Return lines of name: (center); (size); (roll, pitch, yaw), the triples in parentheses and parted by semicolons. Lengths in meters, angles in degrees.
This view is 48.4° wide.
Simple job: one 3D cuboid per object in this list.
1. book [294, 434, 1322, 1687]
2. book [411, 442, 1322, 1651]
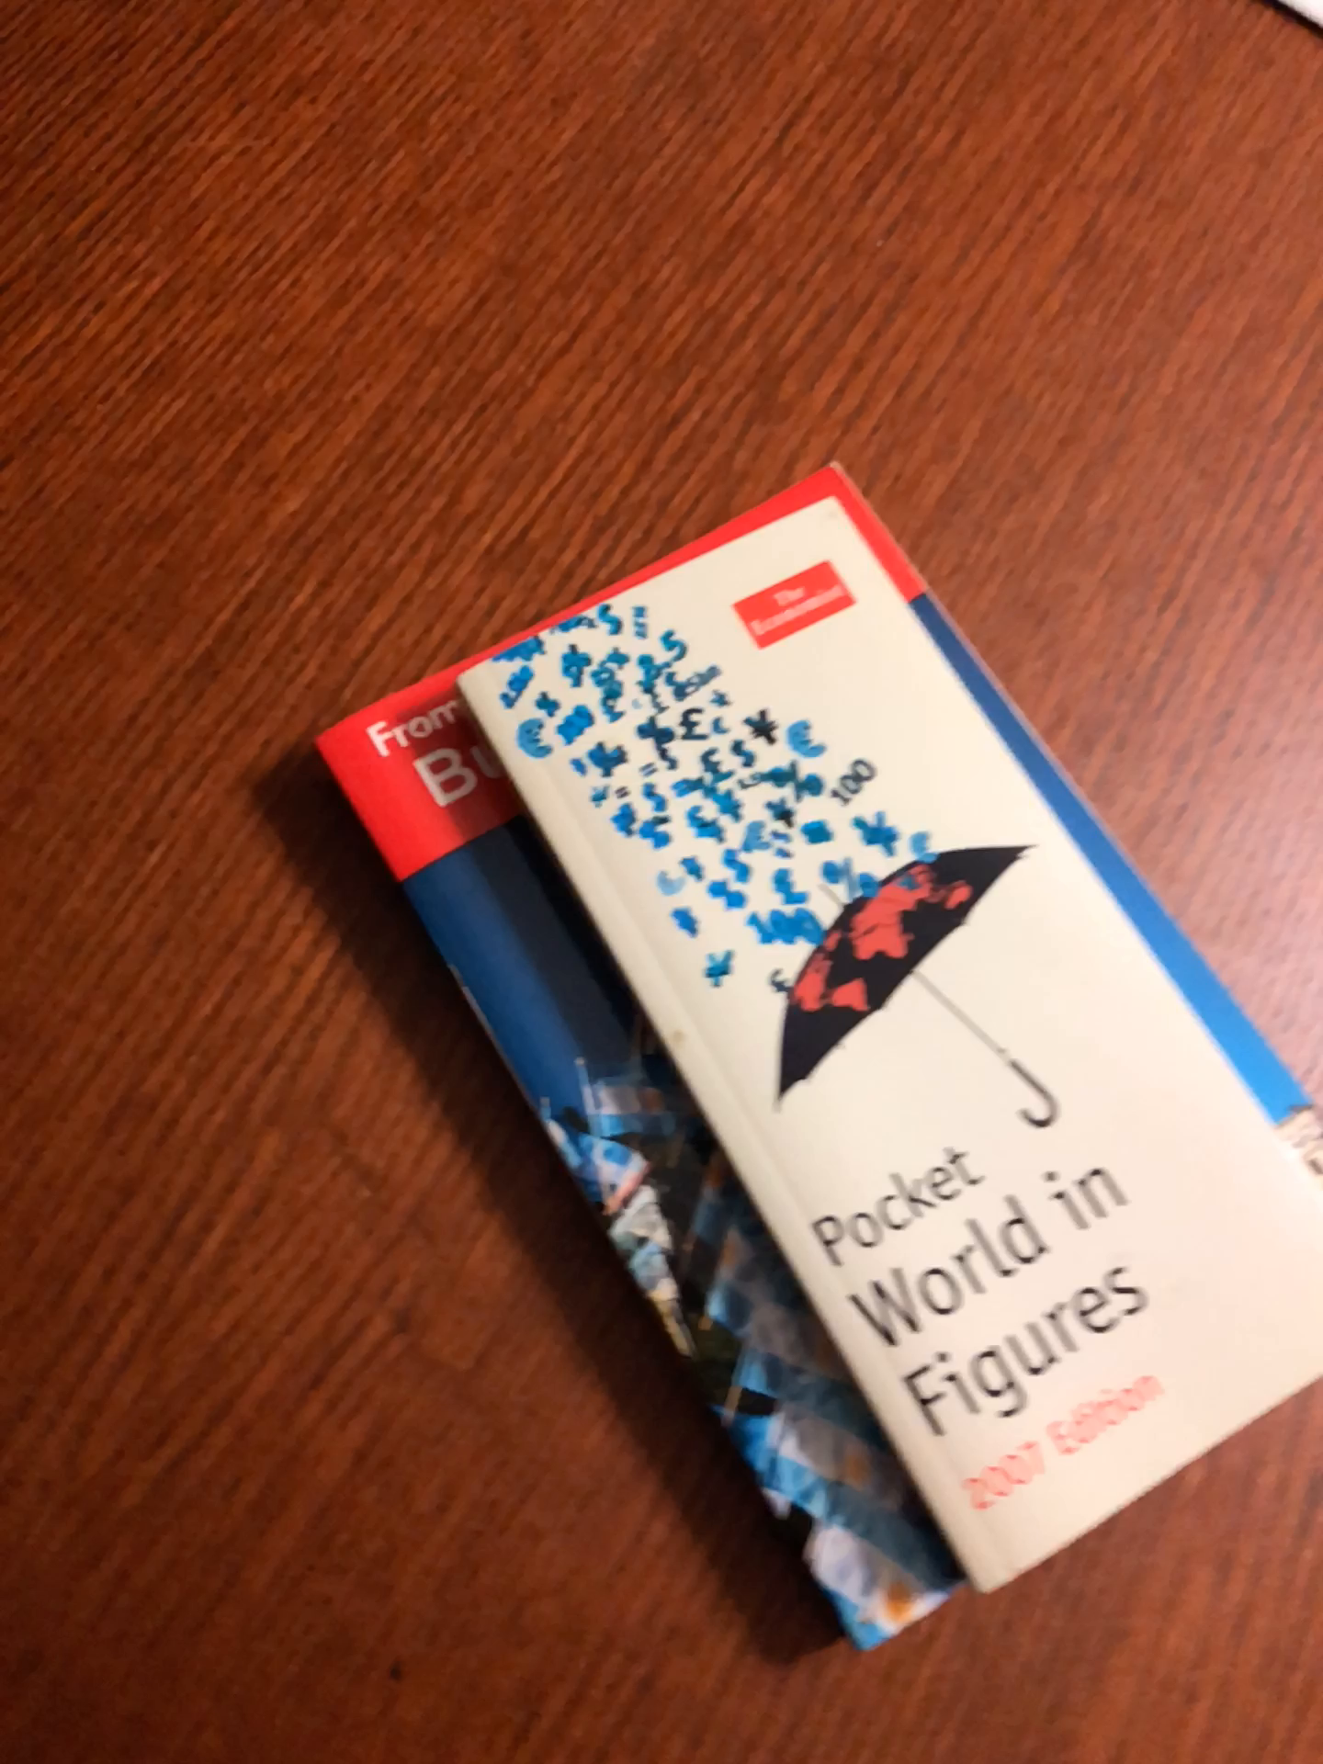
book: (0.038, 0.021, 0.302); (0.140, 0.020, 0.210); (-30, 75, -12)
book: (0.044, 0.018, 0.277); (0.100, 0.020, 0.200); (-28, 74, -11)
